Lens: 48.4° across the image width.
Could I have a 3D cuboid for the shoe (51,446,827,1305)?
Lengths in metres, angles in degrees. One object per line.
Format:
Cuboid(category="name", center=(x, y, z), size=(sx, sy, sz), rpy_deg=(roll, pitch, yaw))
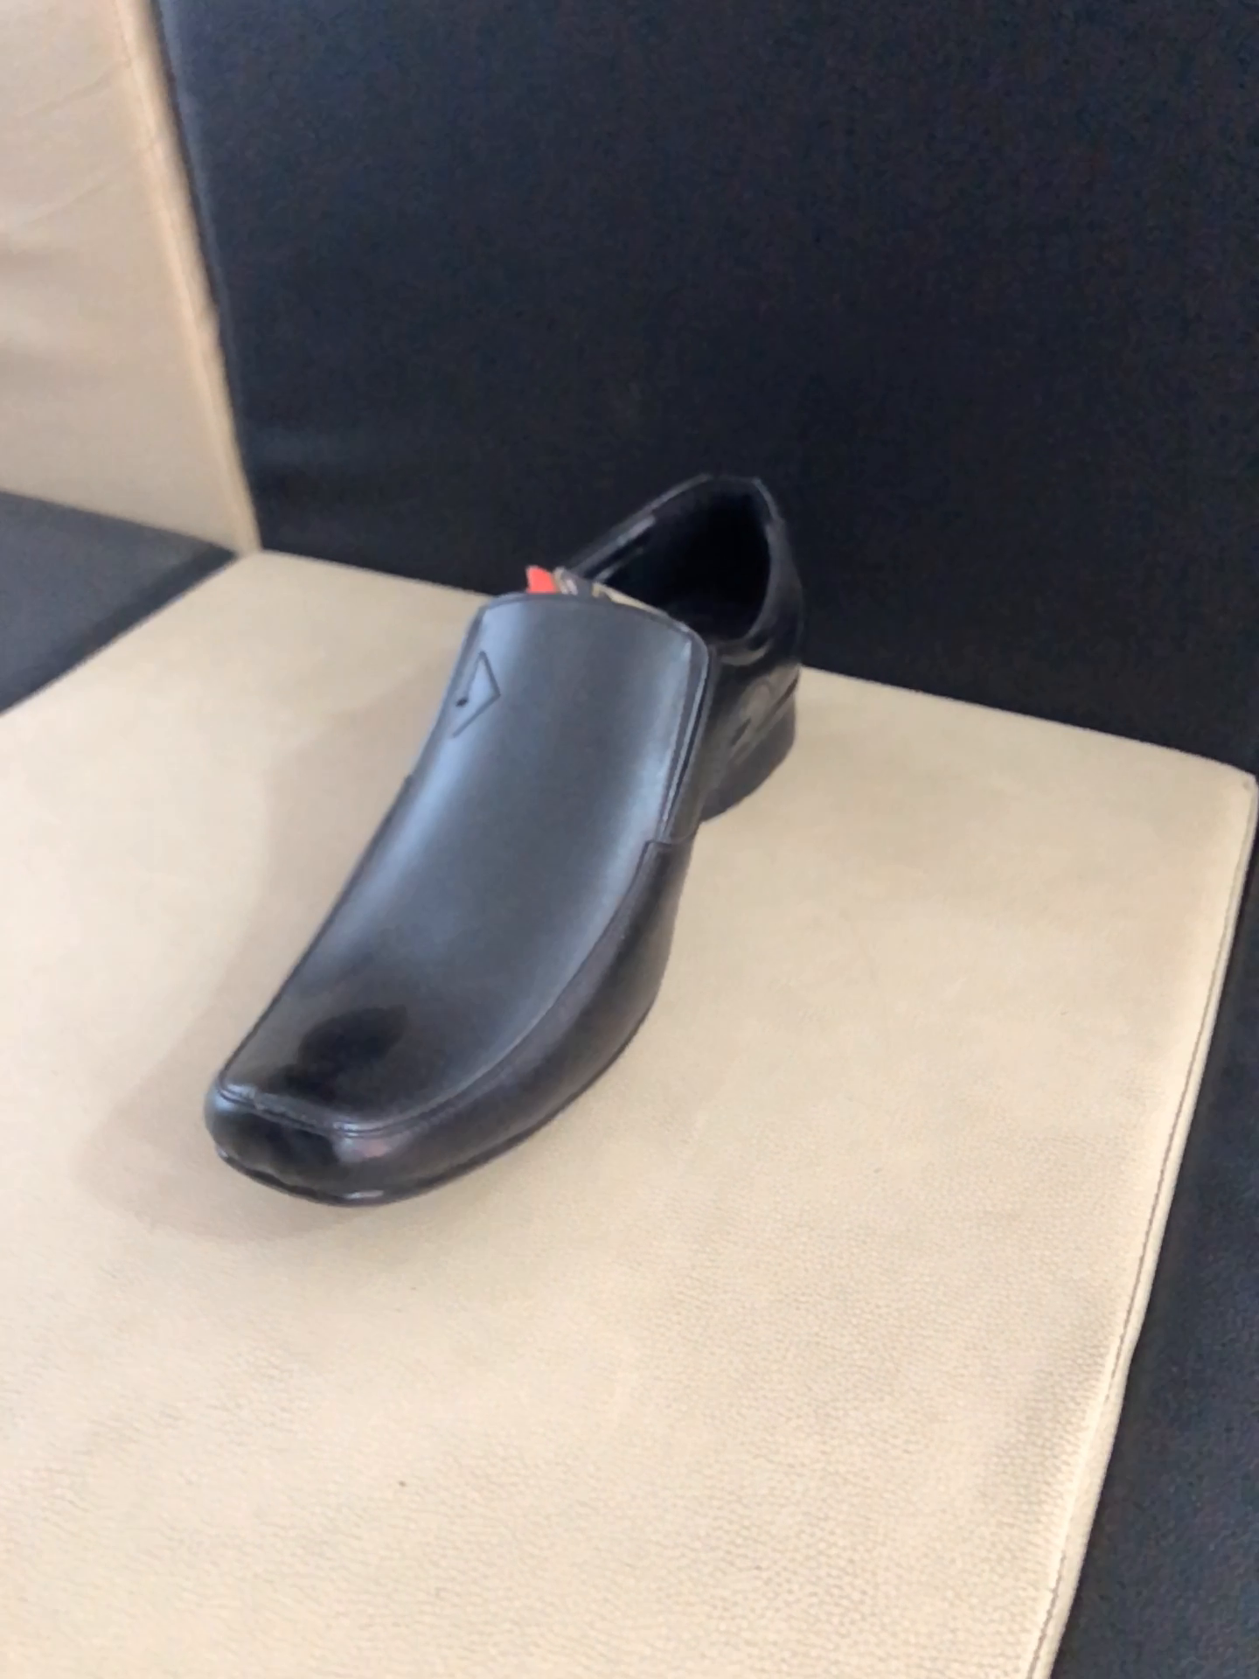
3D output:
Cuboid(category="shoe", center=(-0.026, -0.017, 0.415), size=(0.090, 0.090, 0.282), rpy_deg=(12, 39, 20))
